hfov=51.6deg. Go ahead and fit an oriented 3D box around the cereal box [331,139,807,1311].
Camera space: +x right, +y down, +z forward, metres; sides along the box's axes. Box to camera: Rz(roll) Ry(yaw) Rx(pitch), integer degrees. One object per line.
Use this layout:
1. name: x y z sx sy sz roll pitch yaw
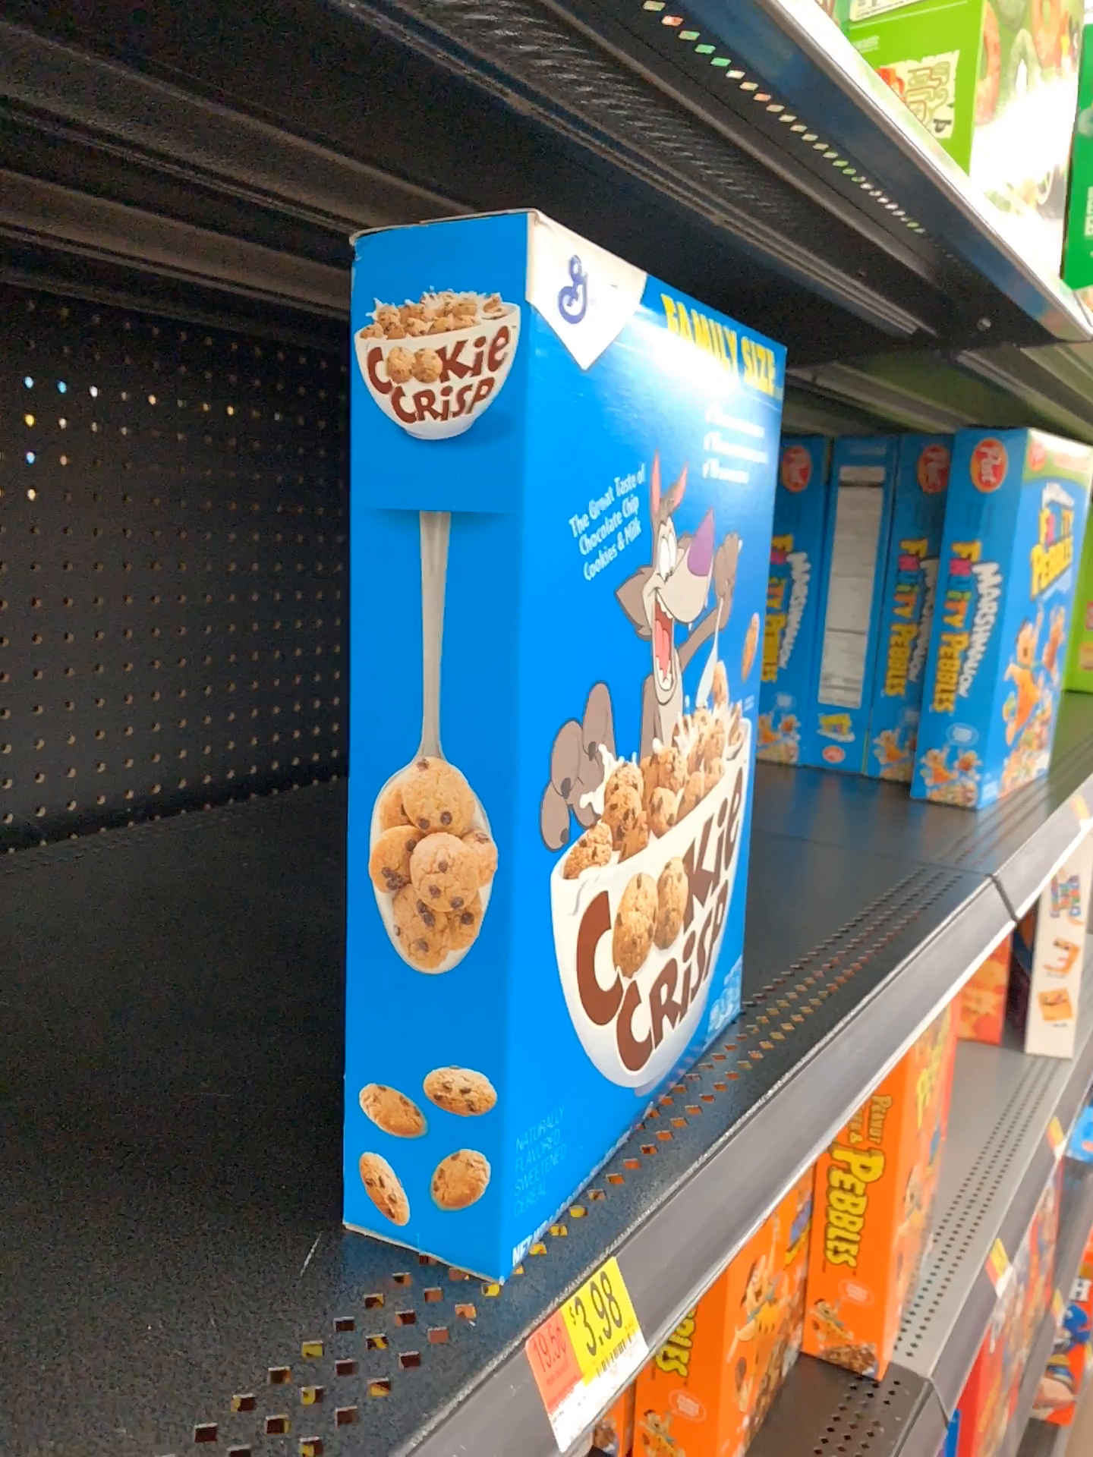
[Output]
1. cereal box: 0.023 -0.009 0.447 0.070 0.339 0.250 8 12 26
